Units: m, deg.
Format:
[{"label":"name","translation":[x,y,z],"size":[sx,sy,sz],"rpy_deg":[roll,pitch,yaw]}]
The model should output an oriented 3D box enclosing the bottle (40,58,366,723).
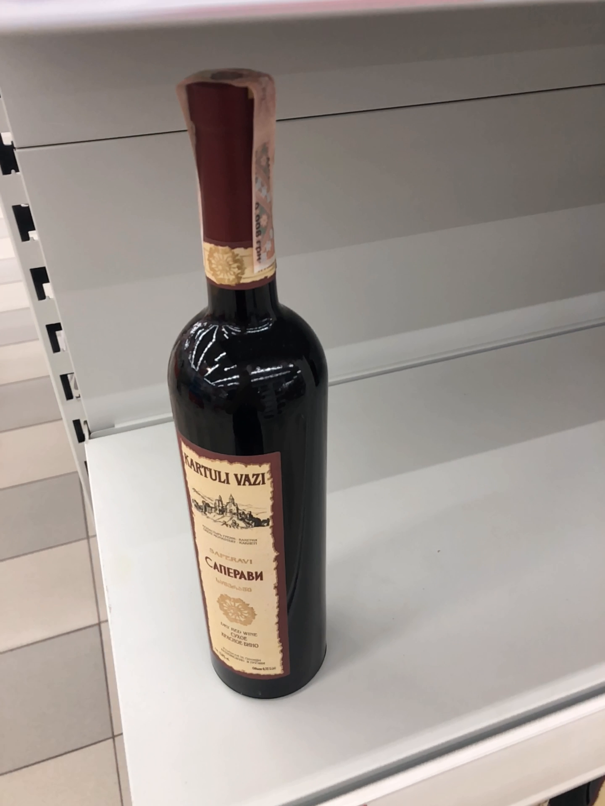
[{"label":"bottle","translation":[-0.025,0.020,0.298],"size":[0.079,0.299,0.069],"rpy_deg":[12,38,18]}]
